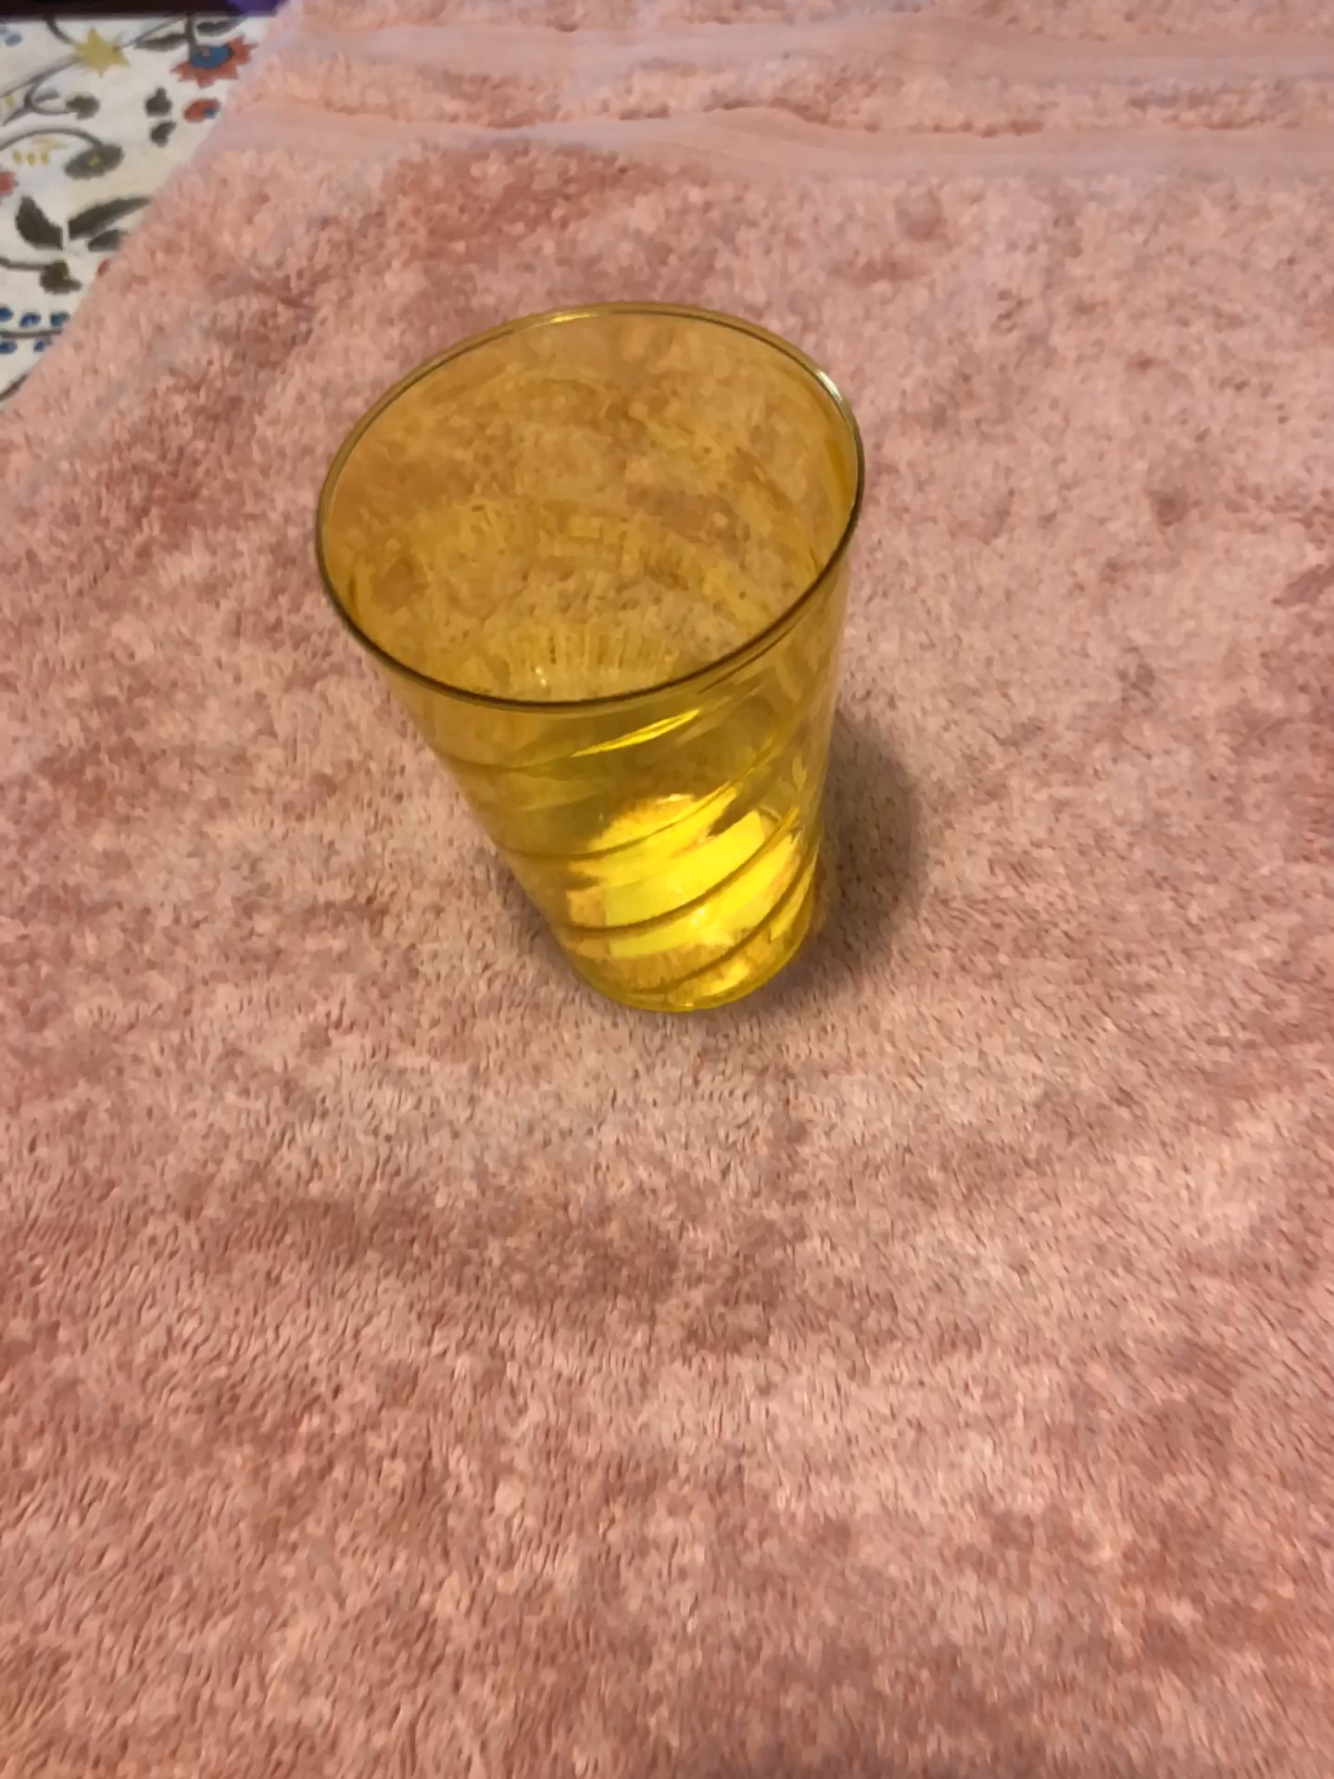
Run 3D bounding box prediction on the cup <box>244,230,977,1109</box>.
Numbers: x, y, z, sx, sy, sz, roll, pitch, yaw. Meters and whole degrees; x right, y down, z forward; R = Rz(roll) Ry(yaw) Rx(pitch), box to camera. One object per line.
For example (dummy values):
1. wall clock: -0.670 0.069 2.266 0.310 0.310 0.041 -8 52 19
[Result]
1. cup: -0.001 -0.032 0.265 0.080 0.119 0.080 -2 59 4
